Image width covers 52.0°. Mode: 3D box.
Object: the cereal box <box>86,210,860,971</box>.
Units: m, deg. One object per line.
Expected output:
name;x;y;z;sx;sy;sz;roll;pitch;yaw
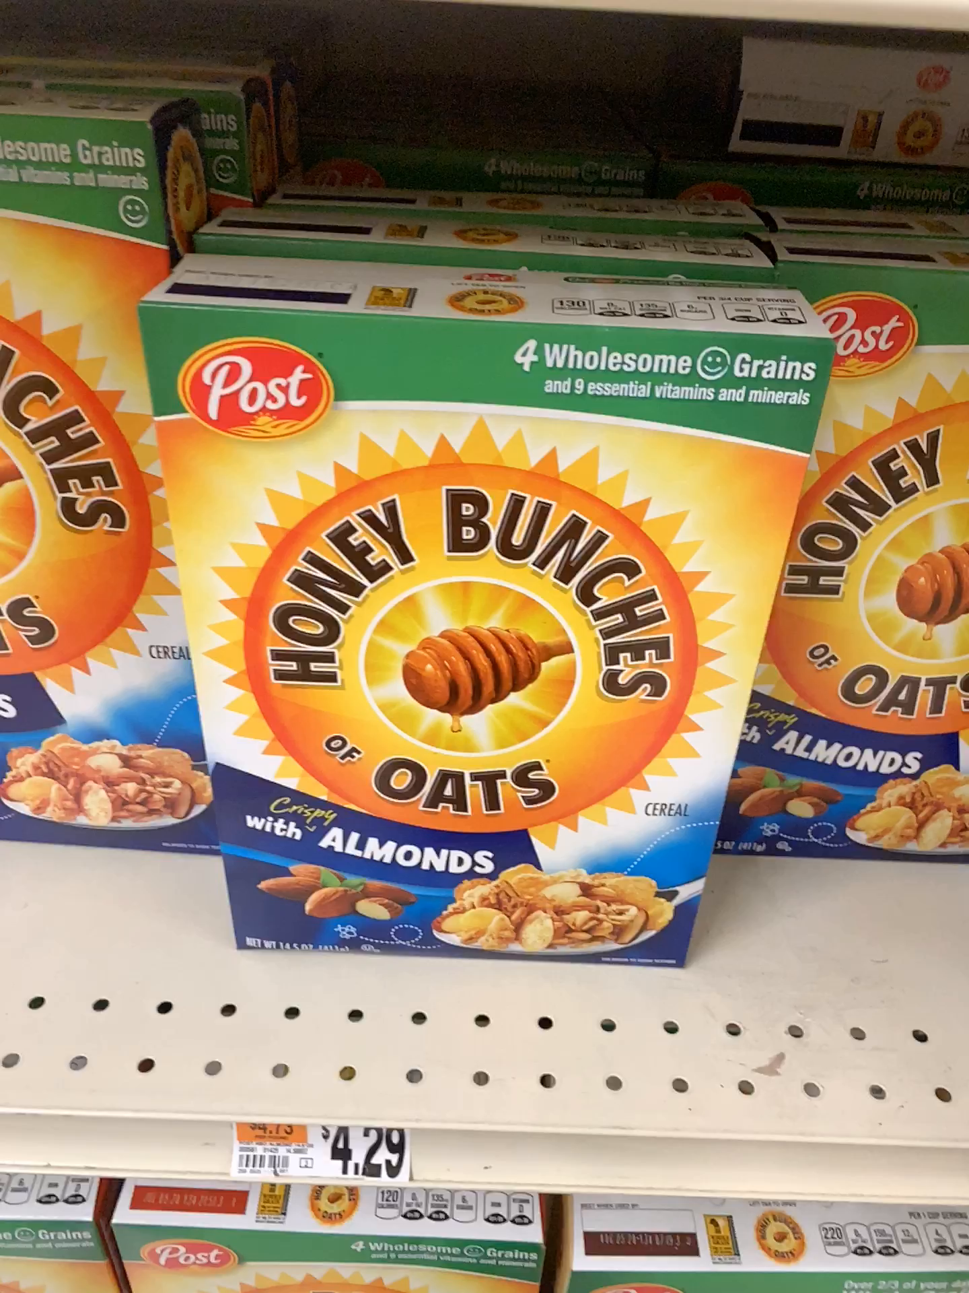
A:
cereal box;-0.008;0.002;0.362;0.200;0.278;0.060;3;36;0
